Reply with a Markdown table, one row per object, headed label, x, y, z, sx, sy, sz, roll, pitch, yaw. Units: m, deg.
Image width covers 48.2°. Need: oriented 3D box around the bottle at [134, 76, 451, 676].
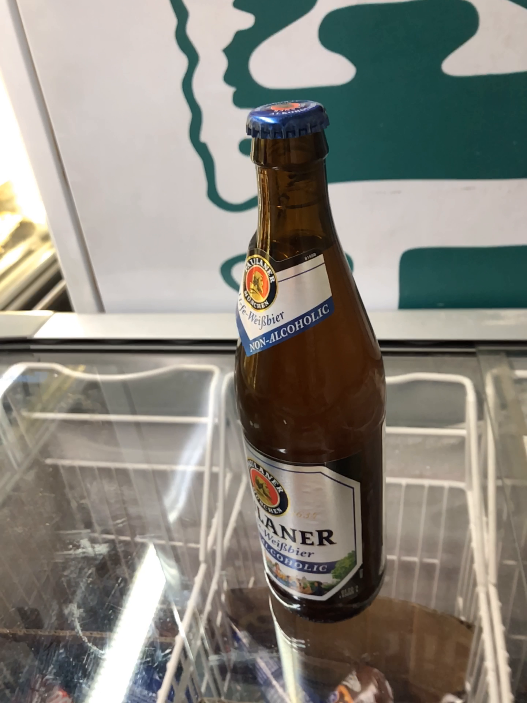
| label | x | y | z | sx | sy | sz | roll | pitch | yaw |
| --- | --- | --- | --- | --- | --- | --- | --- | --- | --- |
| bottle | 0.020 | 0.022 | 0.260 | 0.070 | 0.248 | 0.080 | -26 | 37 | -26 |
